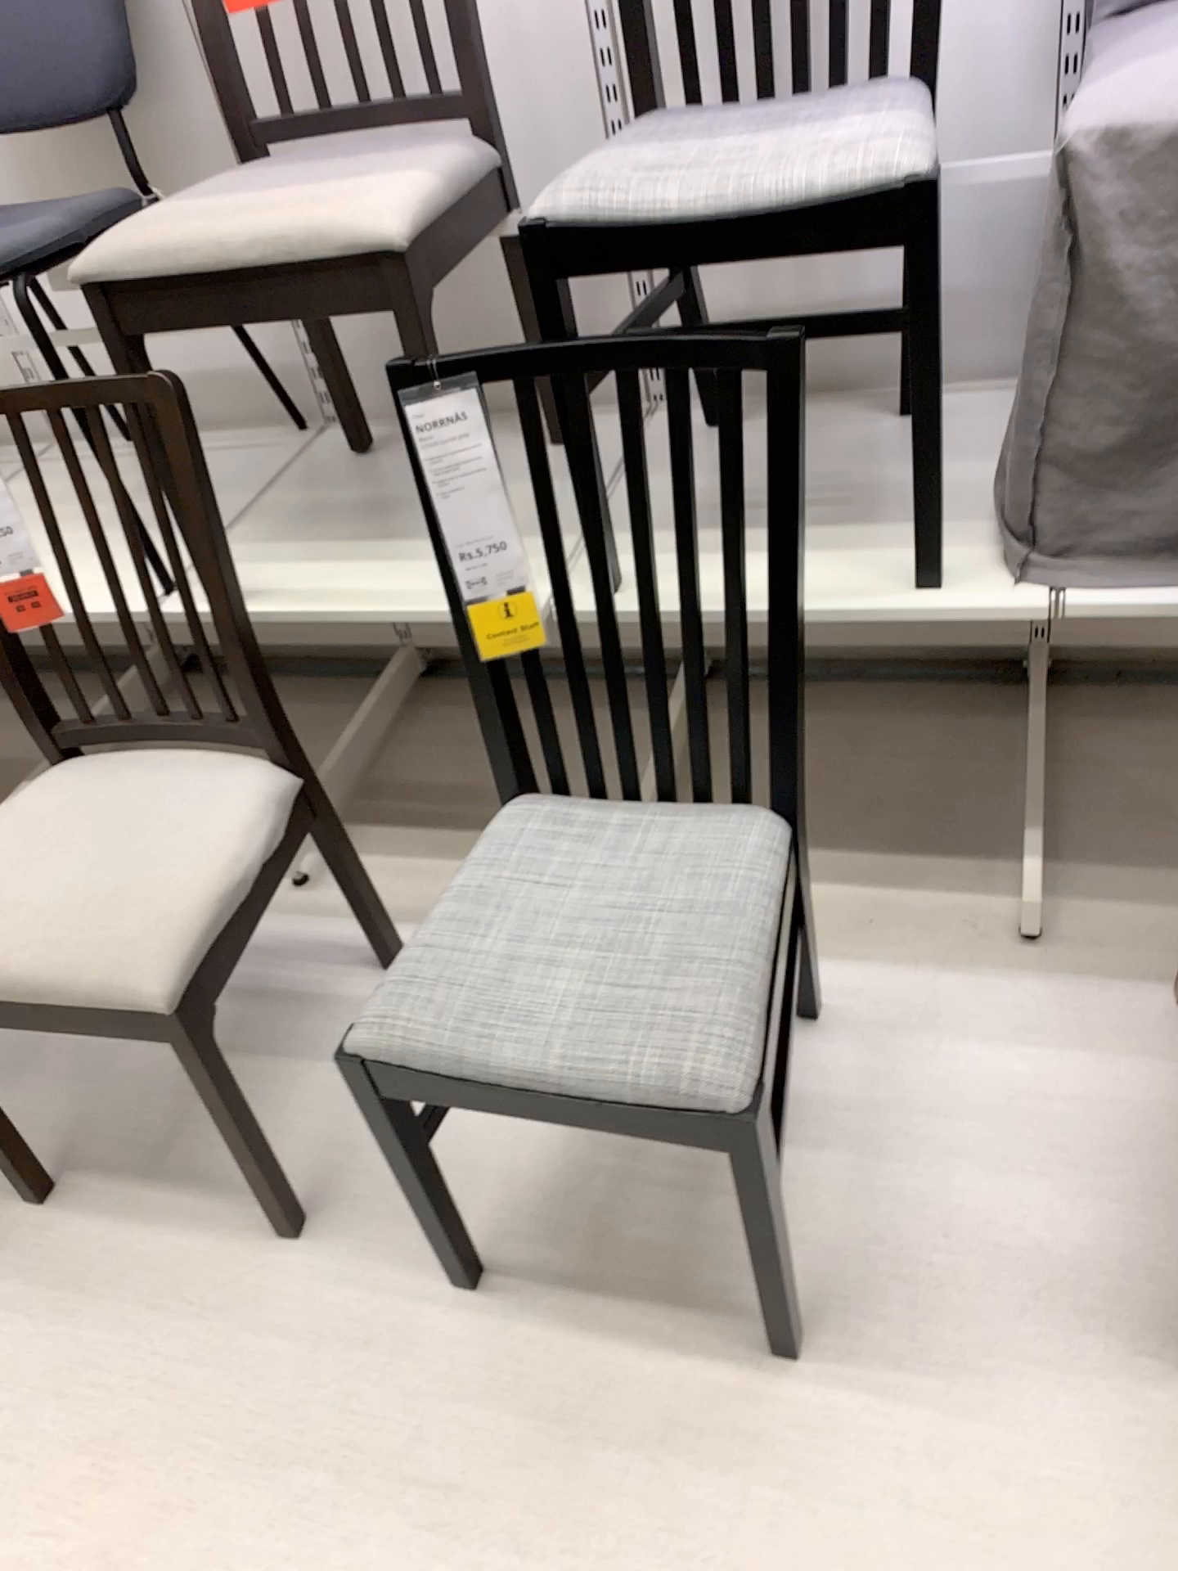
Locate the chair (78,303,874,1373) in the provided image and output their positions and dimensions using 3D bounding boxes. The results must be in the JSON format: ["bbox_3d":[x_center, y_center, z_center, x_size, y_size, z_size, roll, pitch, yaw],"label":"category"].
[{"bbox_3d":[0.014,0.076,1.240,0.441,0.896,0.552,3,42,20],"label":"chair"}]
